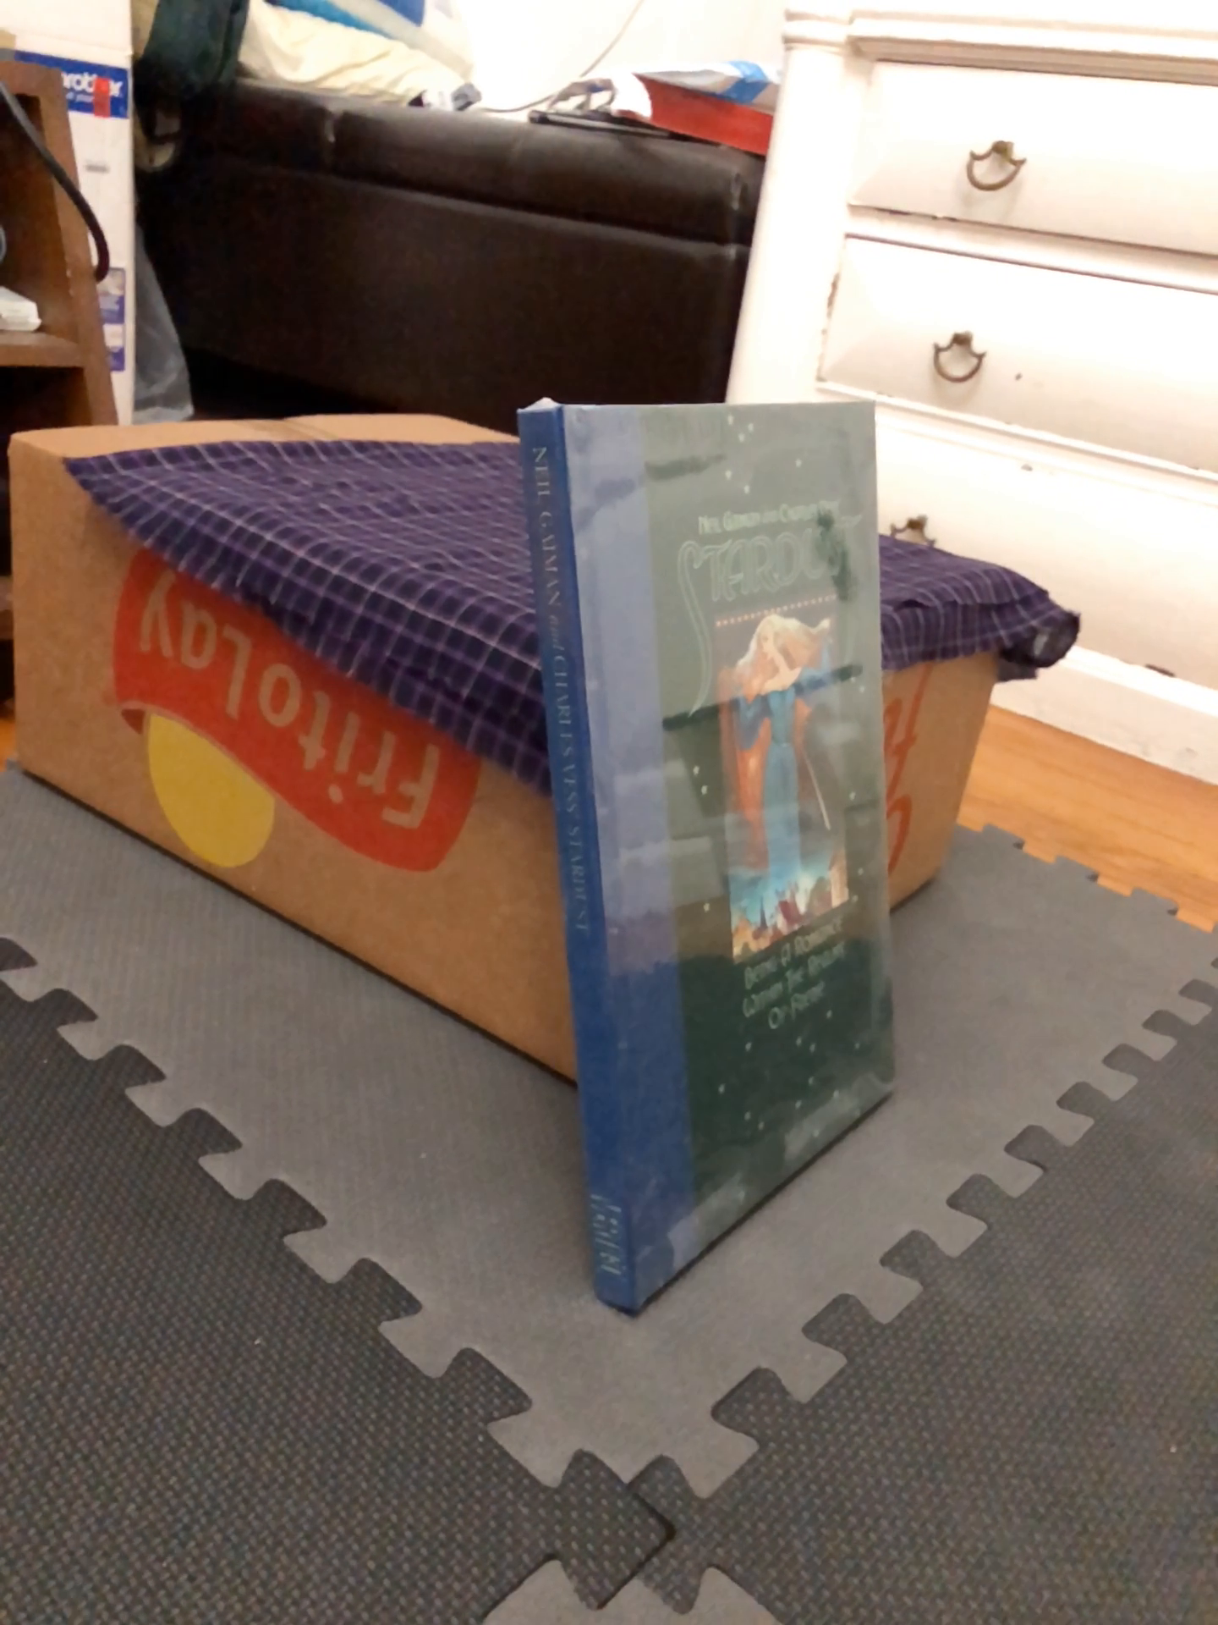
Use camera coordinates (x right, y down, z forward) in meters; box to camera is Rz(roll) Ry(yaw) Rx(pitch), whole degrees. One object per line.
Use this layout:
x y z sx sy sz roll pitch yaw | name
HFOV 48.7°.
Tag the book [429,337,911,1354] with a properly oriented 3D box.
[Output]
0.043 -0.004 0.517 0.050 0.329 0.221 7 18 37 | book
